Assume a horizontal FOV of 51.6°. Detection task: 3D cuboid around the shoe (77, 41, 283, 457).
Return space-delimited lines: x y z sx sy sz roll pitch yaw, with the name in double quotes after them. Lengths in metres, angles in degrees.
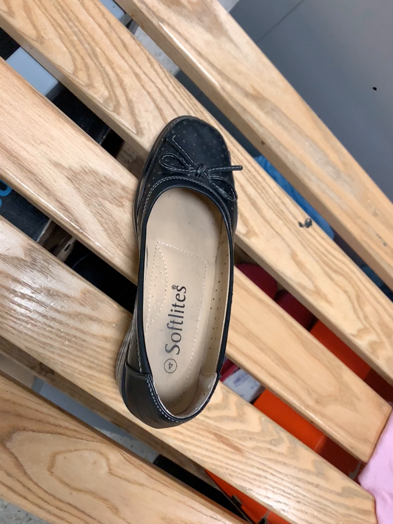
-0.015 -0.007 0.325 0.087 0.109 0.272 14 78 -24 "shoe"
